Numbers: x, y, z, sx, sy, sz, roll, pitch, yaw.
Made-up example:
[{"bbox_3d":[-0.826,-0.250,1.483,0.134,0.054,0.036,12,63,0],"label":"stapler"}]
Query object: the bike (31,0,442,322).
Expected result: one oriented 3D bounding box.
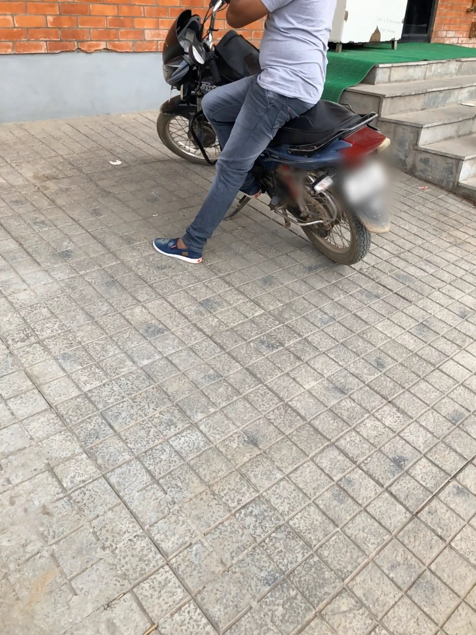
[{"bbox_3d":[-0.153,-1.123,2.736,0.815,1.344,1.824,-22,43,-35],"label":"bike"}]
